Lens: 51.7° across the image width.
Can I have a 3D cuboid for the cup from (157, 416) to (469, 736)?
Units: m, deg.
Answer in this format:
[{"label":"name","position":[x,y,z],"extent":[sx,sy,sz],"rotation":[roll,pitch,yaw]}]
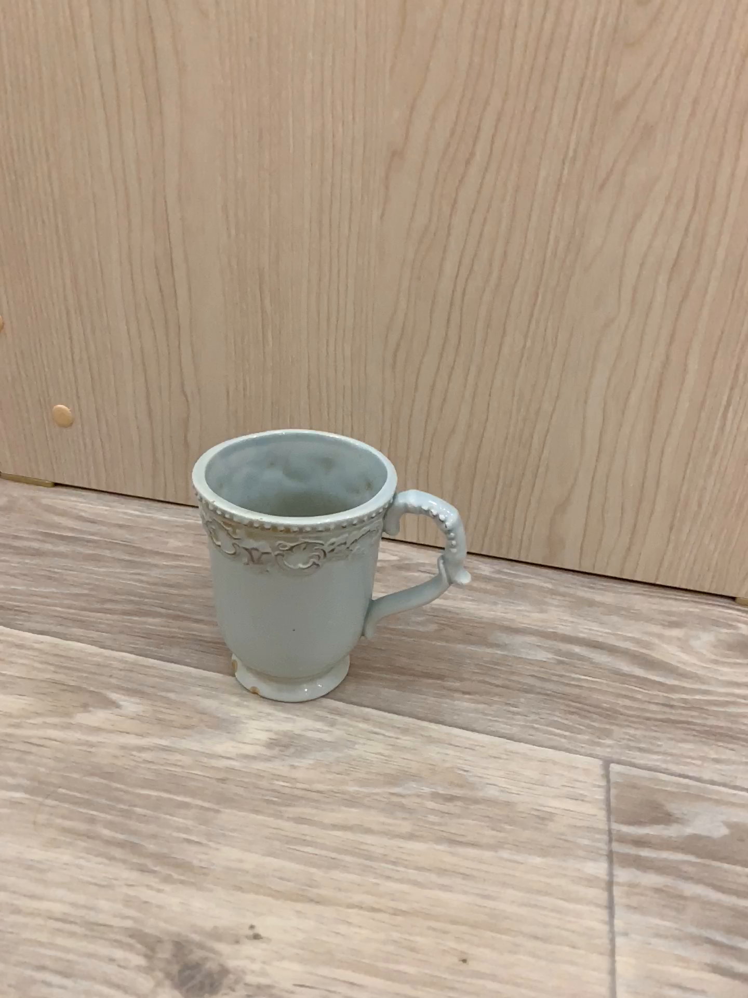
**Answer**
[{"label":"cup","position":[-0.023,0.032,0.350],"extent":[0.118,0.102,0.083],"rotation":[7,28,5]}]
